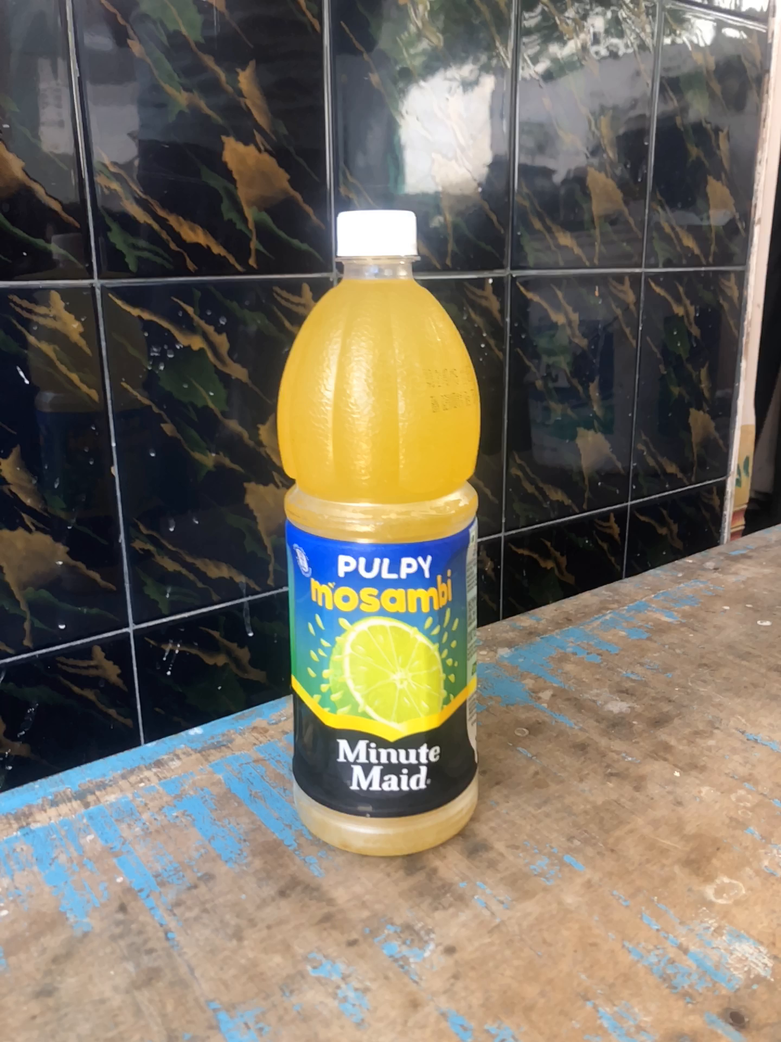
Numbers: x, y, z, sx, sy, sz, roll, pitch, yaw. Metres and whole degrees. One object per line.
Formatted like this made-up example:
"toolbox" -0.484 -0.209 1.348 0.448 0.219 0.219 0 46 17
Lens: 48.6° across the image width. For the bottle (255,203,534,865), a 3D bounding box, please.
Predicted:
"bottle" 0.001 0.003 0.362 0.090 0.249 0.100 -1 16 -2
